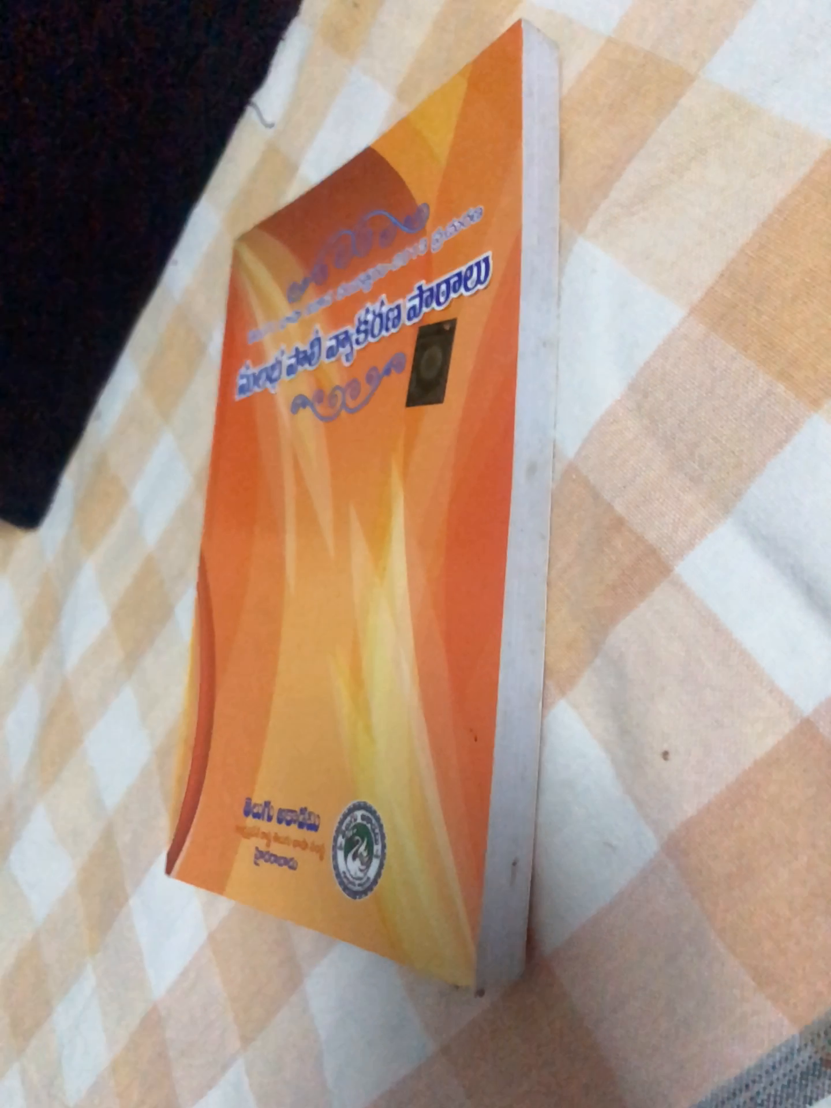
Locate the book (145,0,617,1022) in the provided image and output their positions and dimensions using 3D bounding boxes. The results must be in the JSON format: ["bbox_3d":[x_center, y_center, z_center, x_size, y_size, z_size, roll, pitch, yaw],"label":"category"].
[{"bbox_3d":[-0.015,-0.013,0.240,0.141,0.020,0.210,-8,73,48],"label":"book"}]
